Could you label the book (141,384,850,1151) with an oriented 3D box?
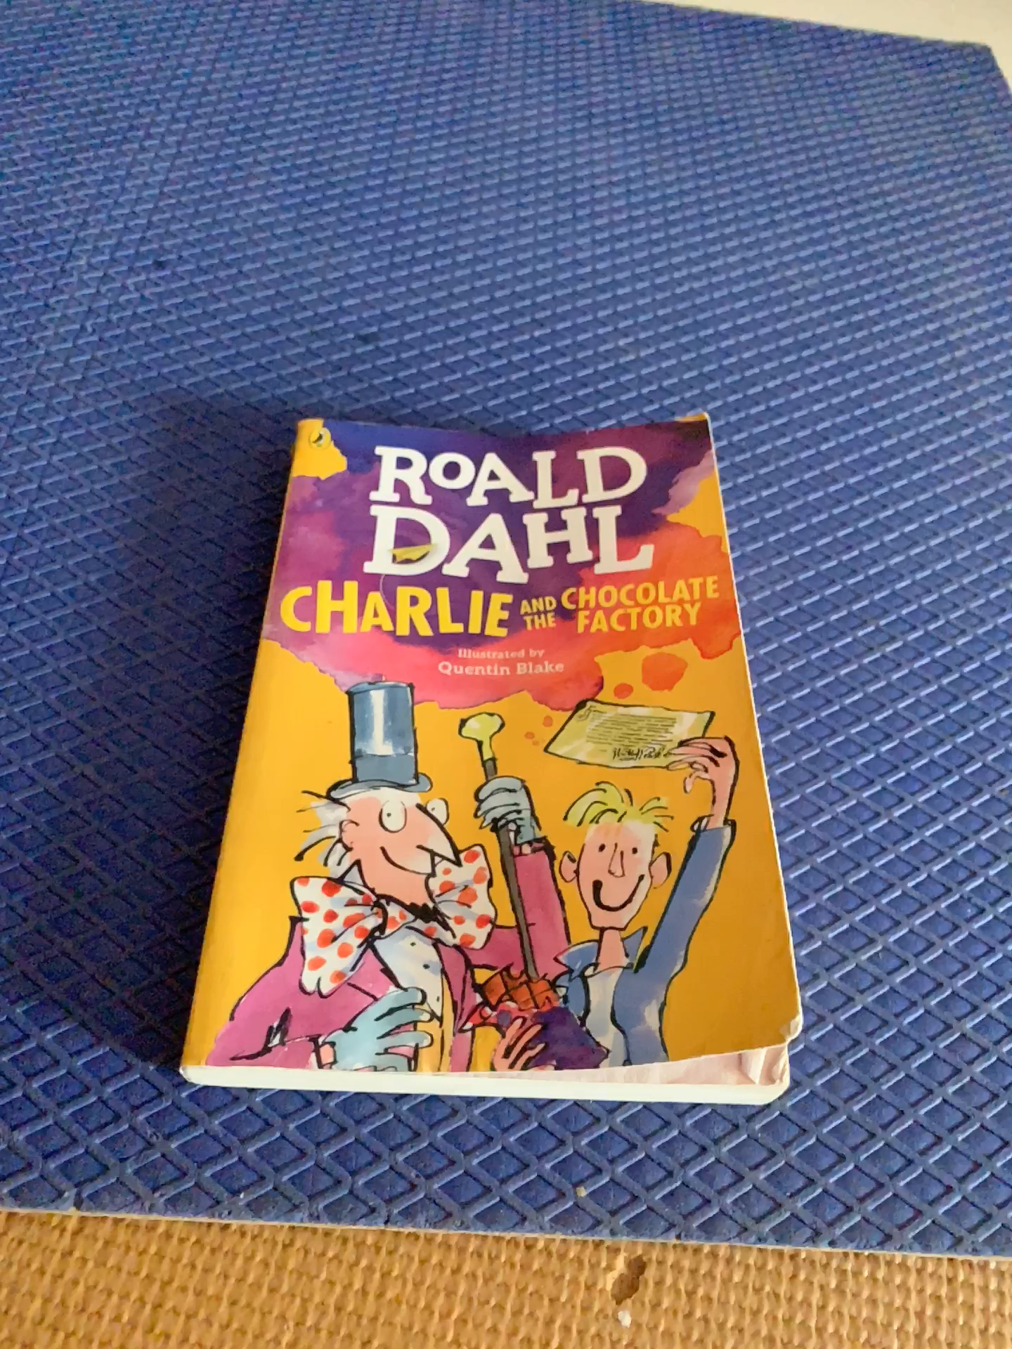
[{"bbox_3d":[0.000,0.007,0.277,0.140,0.020,0.211,4,54,-5],"label":"book"}]
